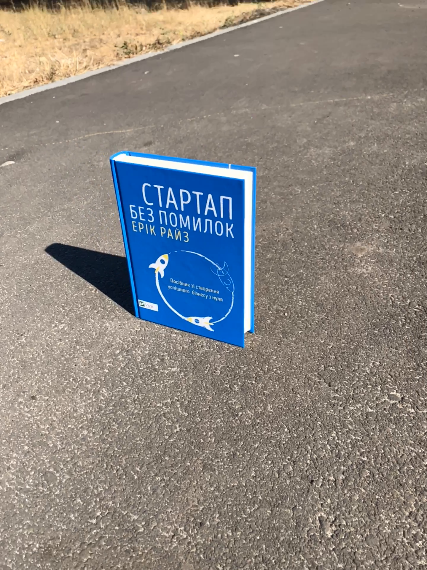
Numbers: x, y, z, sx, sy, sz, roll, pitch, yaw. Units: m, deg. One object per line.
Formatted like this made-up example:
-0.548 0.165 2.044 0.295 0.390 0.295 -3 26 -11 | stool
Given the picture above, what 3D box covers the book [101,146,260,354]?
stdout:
-0.030 -0.036 0.508 0.154 0.205 0.039 12 35 23 | book
